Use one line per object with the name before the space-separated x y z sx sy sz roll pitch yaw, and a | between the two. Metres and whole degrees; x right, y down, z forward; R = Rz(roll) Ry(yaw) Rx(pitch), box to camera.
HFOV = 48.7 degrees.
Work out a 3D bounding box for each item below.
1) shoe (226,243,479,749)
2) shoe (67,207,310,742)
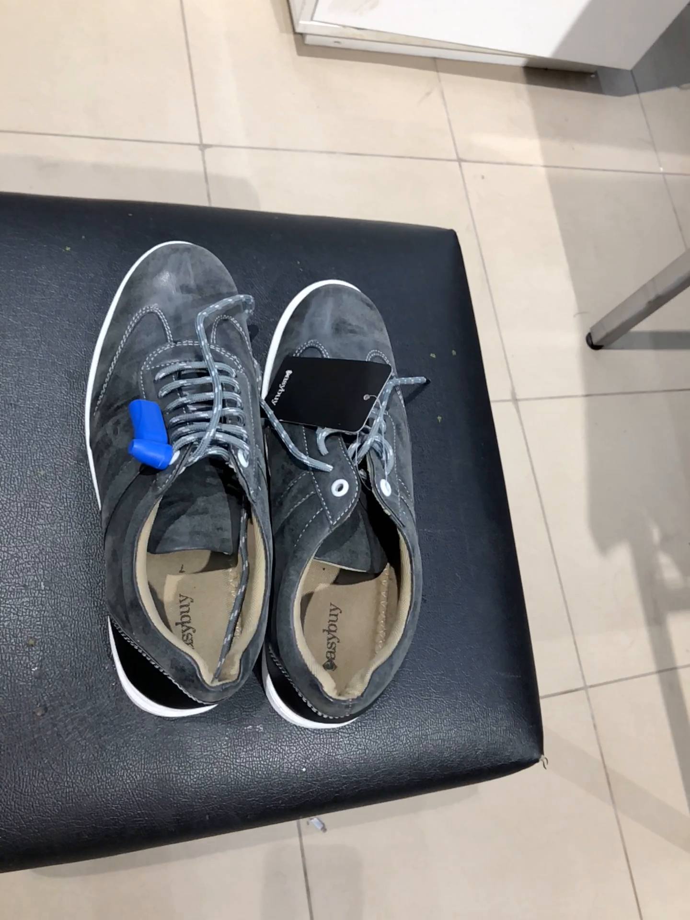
shoe | 0.004 0.024 0.427 0.101 0.107 0.249 8 70 -16
shoe | -0.088 0.010 0.405 0.101 0.107 0.249 2 72 -18
